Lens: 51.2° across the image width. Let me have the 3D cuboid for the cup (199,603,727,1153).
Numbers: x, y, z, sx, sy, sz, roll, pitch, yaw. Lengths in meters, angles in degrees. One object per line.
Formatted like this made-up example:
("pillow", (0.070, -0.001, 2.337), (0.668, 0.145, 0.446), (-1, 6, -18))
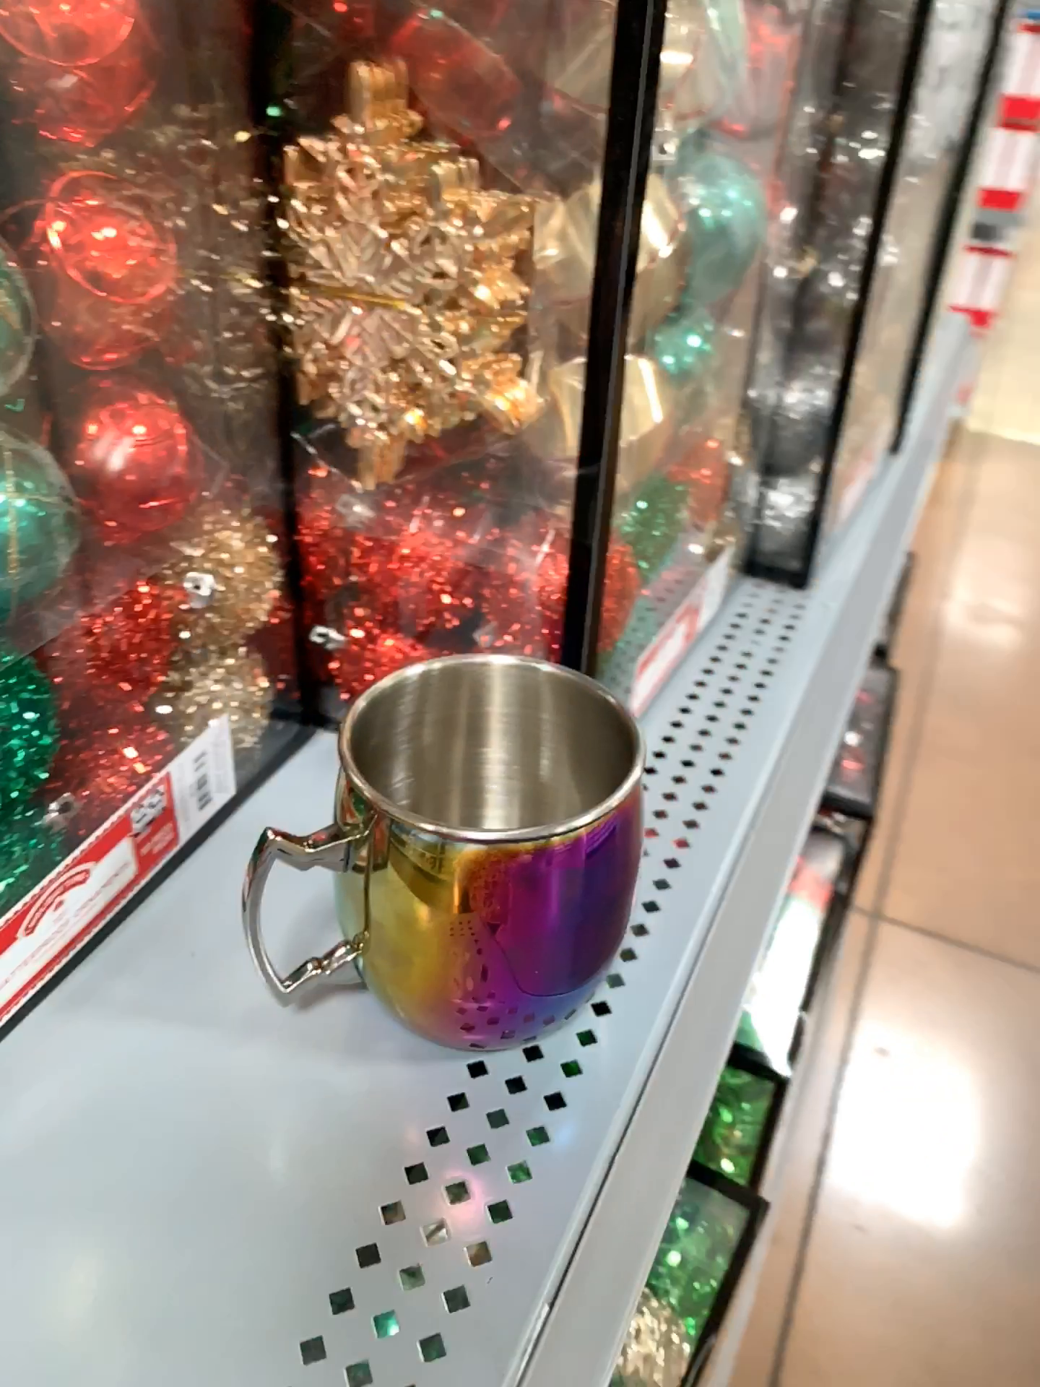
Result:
("cup", (-0.019, 0.045, 0.310), (0.110, 0.090, 0.087), (-17, 39, -29))
